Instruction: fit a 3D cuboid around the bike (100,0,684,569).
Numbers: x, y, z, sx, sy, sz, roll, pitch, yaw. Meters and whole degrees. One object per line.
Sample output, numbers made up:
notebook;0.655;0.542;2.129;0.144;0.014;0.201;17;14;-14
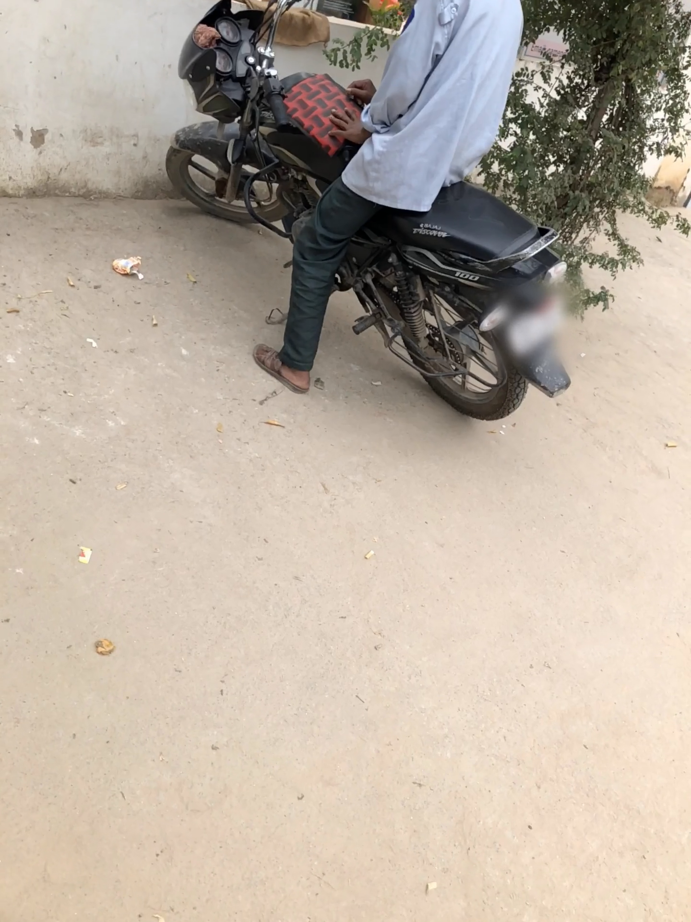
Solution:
bike;-0.008;-0.781;2.439;1.498;1.332;0.790;38;39;26
